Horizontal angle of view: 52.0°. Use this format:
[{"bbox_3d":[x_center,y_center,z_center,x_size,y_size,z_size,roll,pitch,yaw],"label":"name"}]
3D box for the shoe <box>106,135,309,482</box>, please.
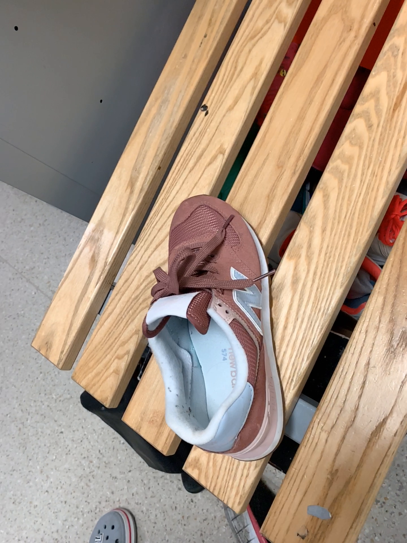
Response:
[{"bbox_3d":[-0.002,0.032,0.377,0.110,0.105,0.260,-19,67,24],"label":"shoe"}]
